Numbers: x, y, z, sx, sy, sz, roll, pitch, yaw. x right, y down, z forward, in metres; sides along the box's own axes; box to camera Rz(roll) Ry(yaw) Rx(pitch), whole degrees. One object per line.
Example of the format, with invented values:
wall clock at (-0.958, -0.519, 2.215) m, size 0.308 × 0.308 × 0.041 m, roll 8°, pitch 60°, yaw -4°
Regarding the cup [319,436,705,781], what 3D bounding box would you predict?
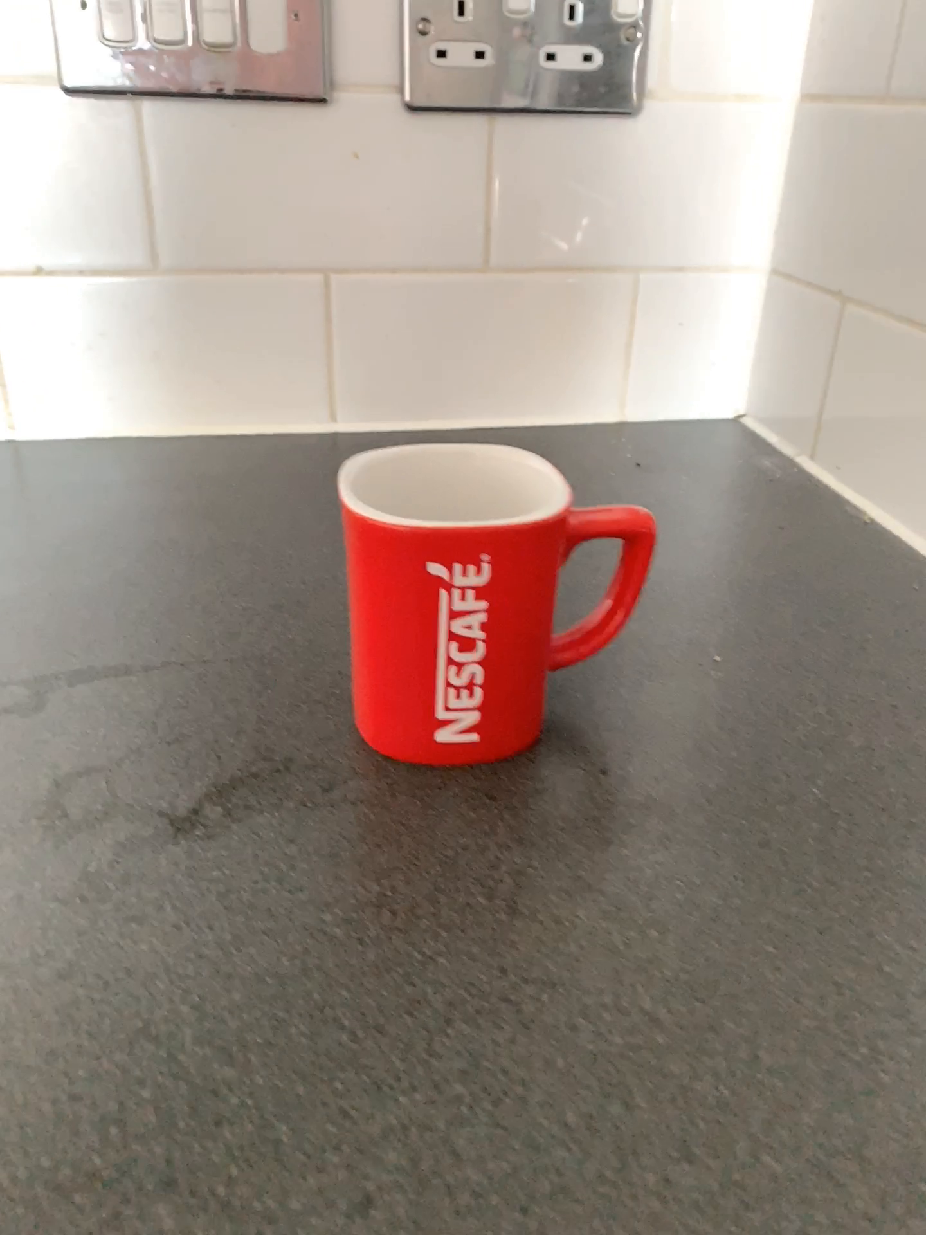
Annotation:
cup at (0.010, -0.006, 0.324) m, size 0.112 × 0.091 × 0.067 m, roll -2°, pitch 28°, yaw -7°
